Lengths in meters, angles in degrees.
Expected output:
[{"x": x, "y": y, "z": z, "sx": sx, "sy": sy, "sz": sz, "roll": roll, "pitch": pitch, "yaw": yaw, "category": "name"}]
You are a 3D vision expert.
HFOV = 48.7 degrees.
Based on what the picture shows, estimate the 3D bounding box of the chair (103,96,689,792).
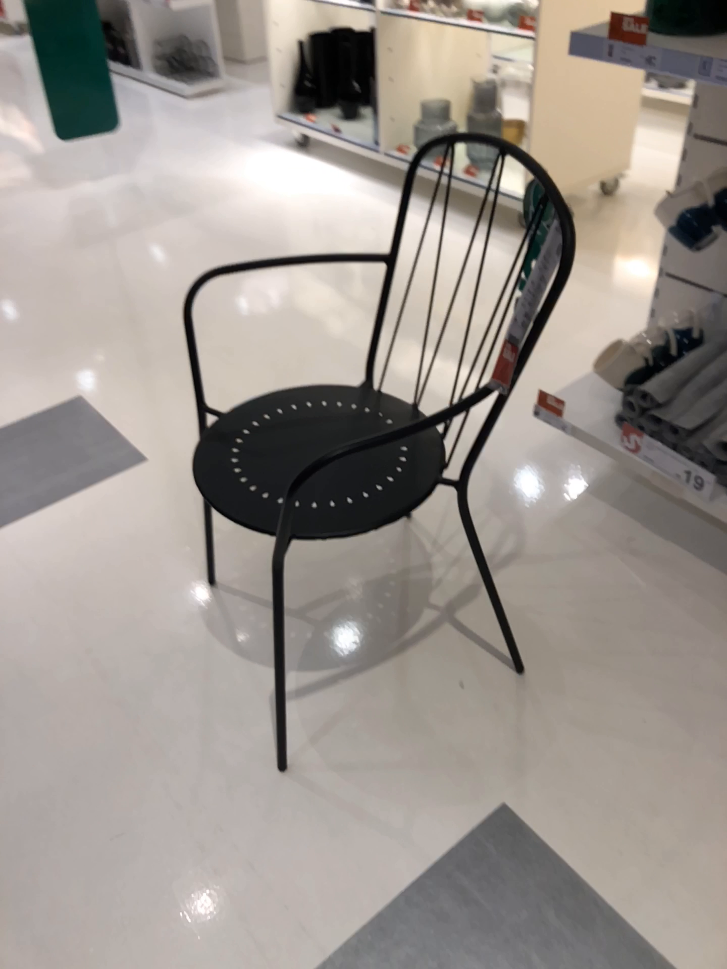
[{"x": 0.020, "y": -0.065, "z": 1.245, "sx": 0.561, "sy": 0.814, "sz": 0.513, "roll": -17, "pitch": 41, "yaw": -16, "category": "chair"}]
